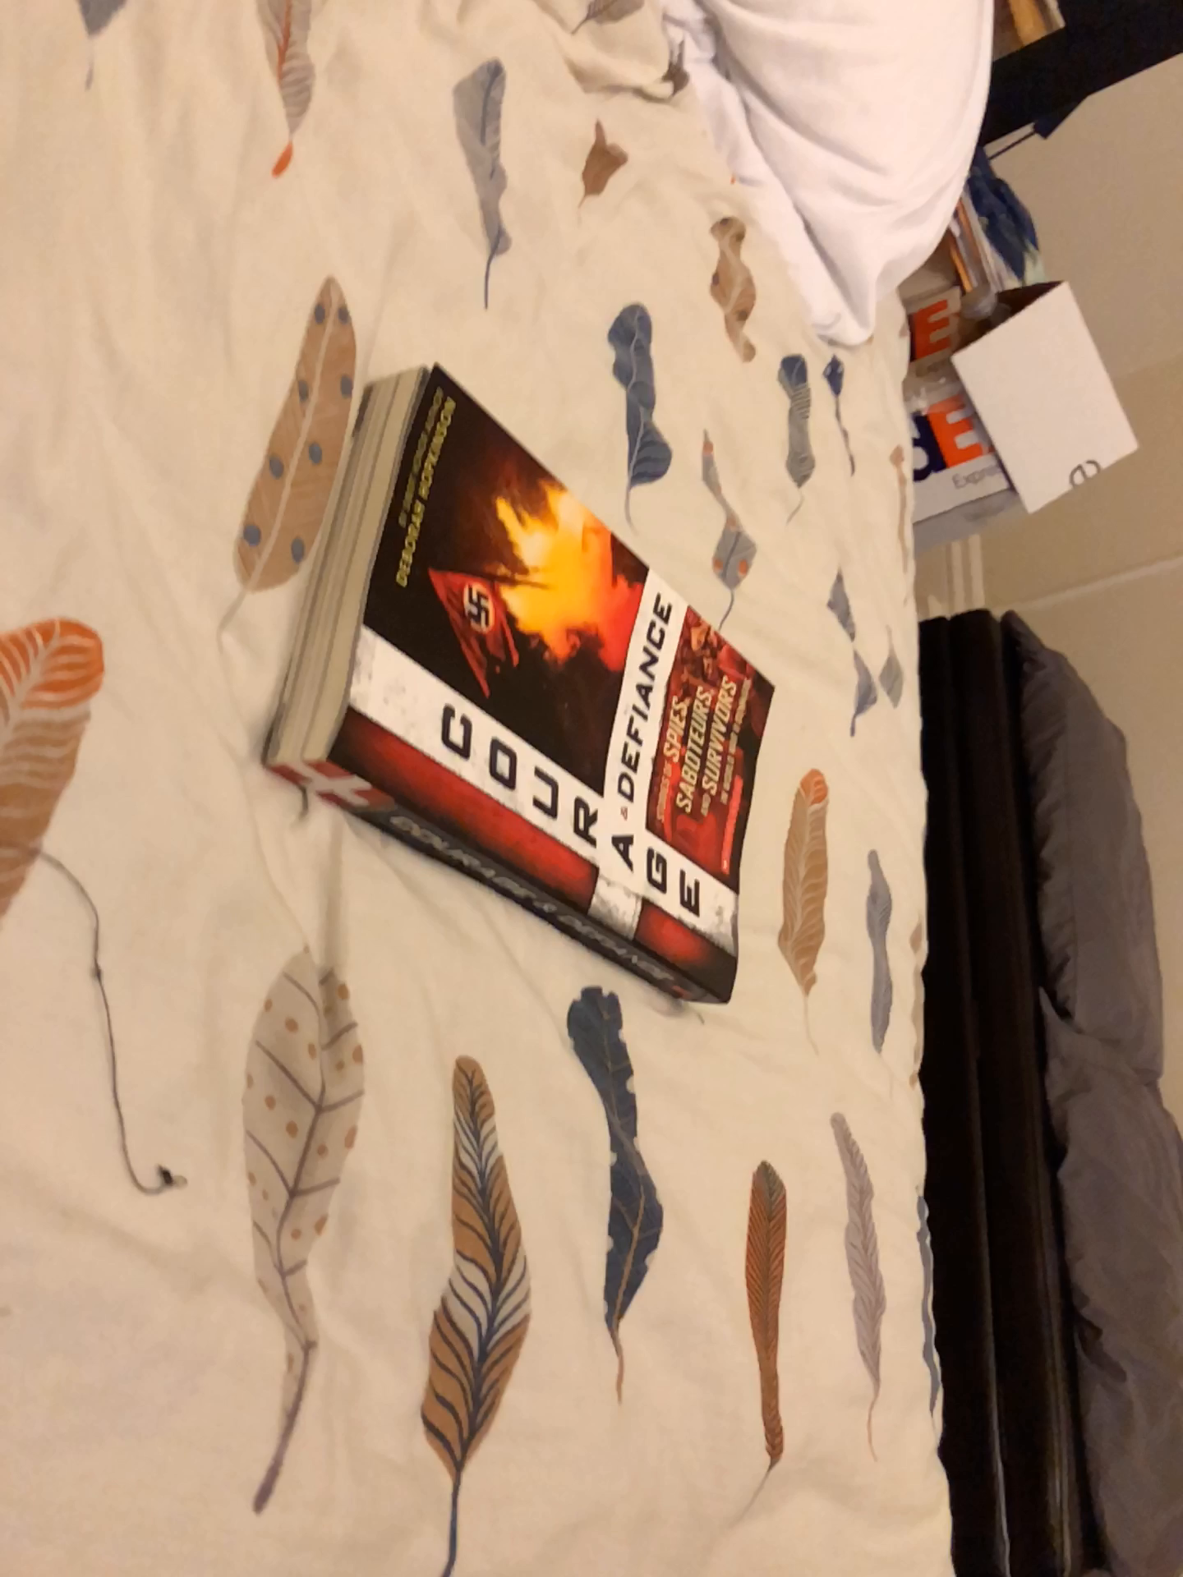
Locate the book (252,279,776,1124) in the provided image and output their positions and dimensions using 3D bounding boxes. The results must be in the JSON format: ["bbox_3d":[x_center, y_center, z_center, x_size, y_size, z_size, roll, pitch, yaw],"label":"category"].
[{"bbox_3d":[-0.004,-0.014,0.429,0.231,0.020,0.200,35,49,-48],"label":"book"}]
